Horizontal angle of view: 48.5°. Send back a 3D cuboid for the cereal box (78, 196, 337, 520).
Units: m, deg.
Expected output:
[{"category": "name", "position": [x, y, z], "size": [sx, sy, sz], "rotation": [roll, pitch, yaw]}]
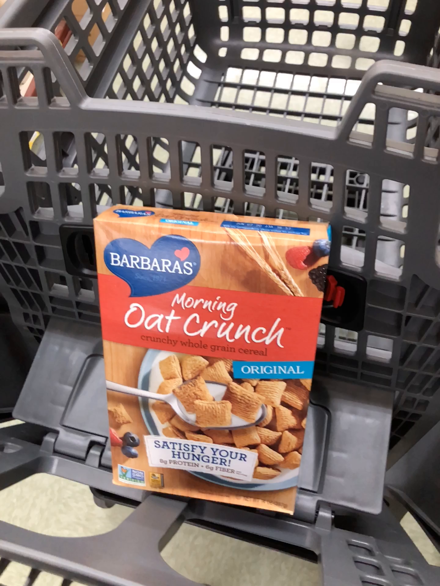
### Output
[{"category": "cereal box", "position": [-0.010, 0.060, 0.413], "size": [0.180, 0.260, 0.060], "rotation": [6, 26, 9]}]
